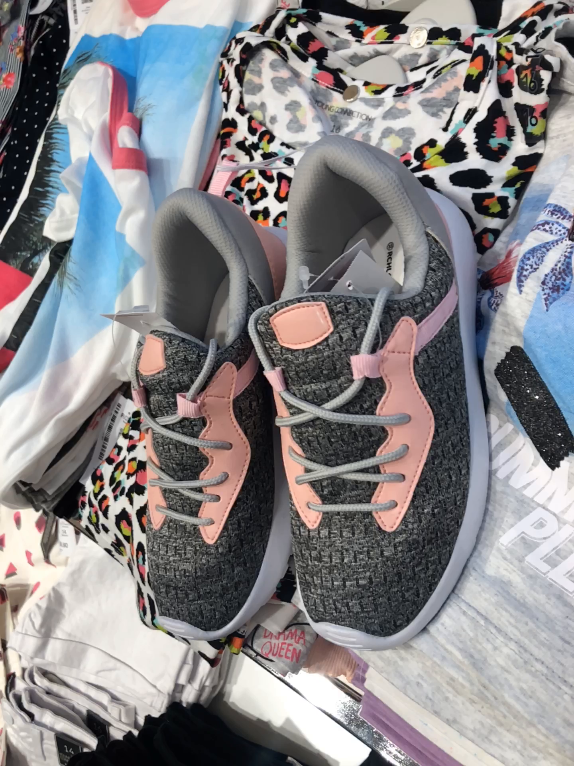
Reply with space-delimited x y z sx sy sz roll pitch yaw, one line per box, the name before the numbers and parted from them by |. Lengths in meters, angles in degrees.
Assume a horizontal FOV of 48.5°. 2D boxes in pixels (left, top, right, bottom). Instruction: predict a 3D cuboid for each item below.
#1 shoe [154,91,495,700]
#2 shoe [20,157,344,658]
shoe | 0.026 0.007 0.283 0.100 0.100 0.210 -5 74 35
shoe | -0.049 0.014 0.344 0.100 0.100 0.220 -1 76 36
